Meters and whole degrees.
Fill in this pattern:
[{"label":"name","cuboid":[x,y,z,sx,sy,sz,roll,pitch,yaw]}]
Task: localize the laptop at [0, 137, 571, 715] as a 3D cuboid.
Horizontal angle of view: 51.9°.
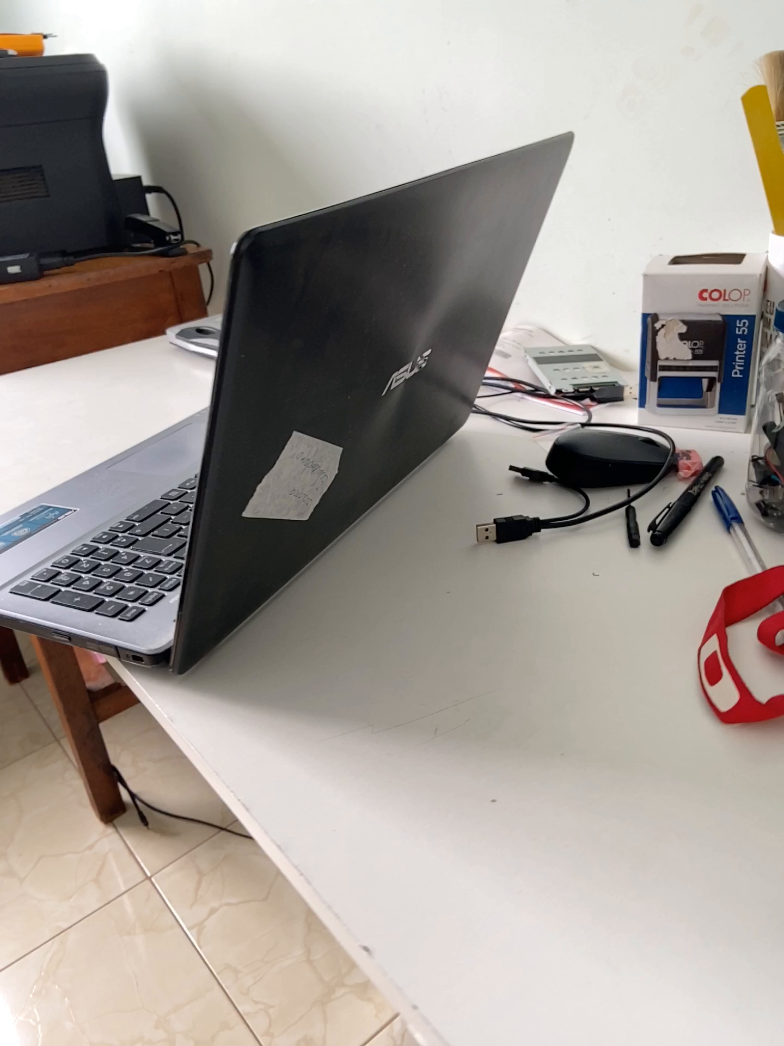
[{"label":"laptop","cuboid":[-0.108,-0.116,0.552,0.356,0.213,0.378,9,31,28]}]
